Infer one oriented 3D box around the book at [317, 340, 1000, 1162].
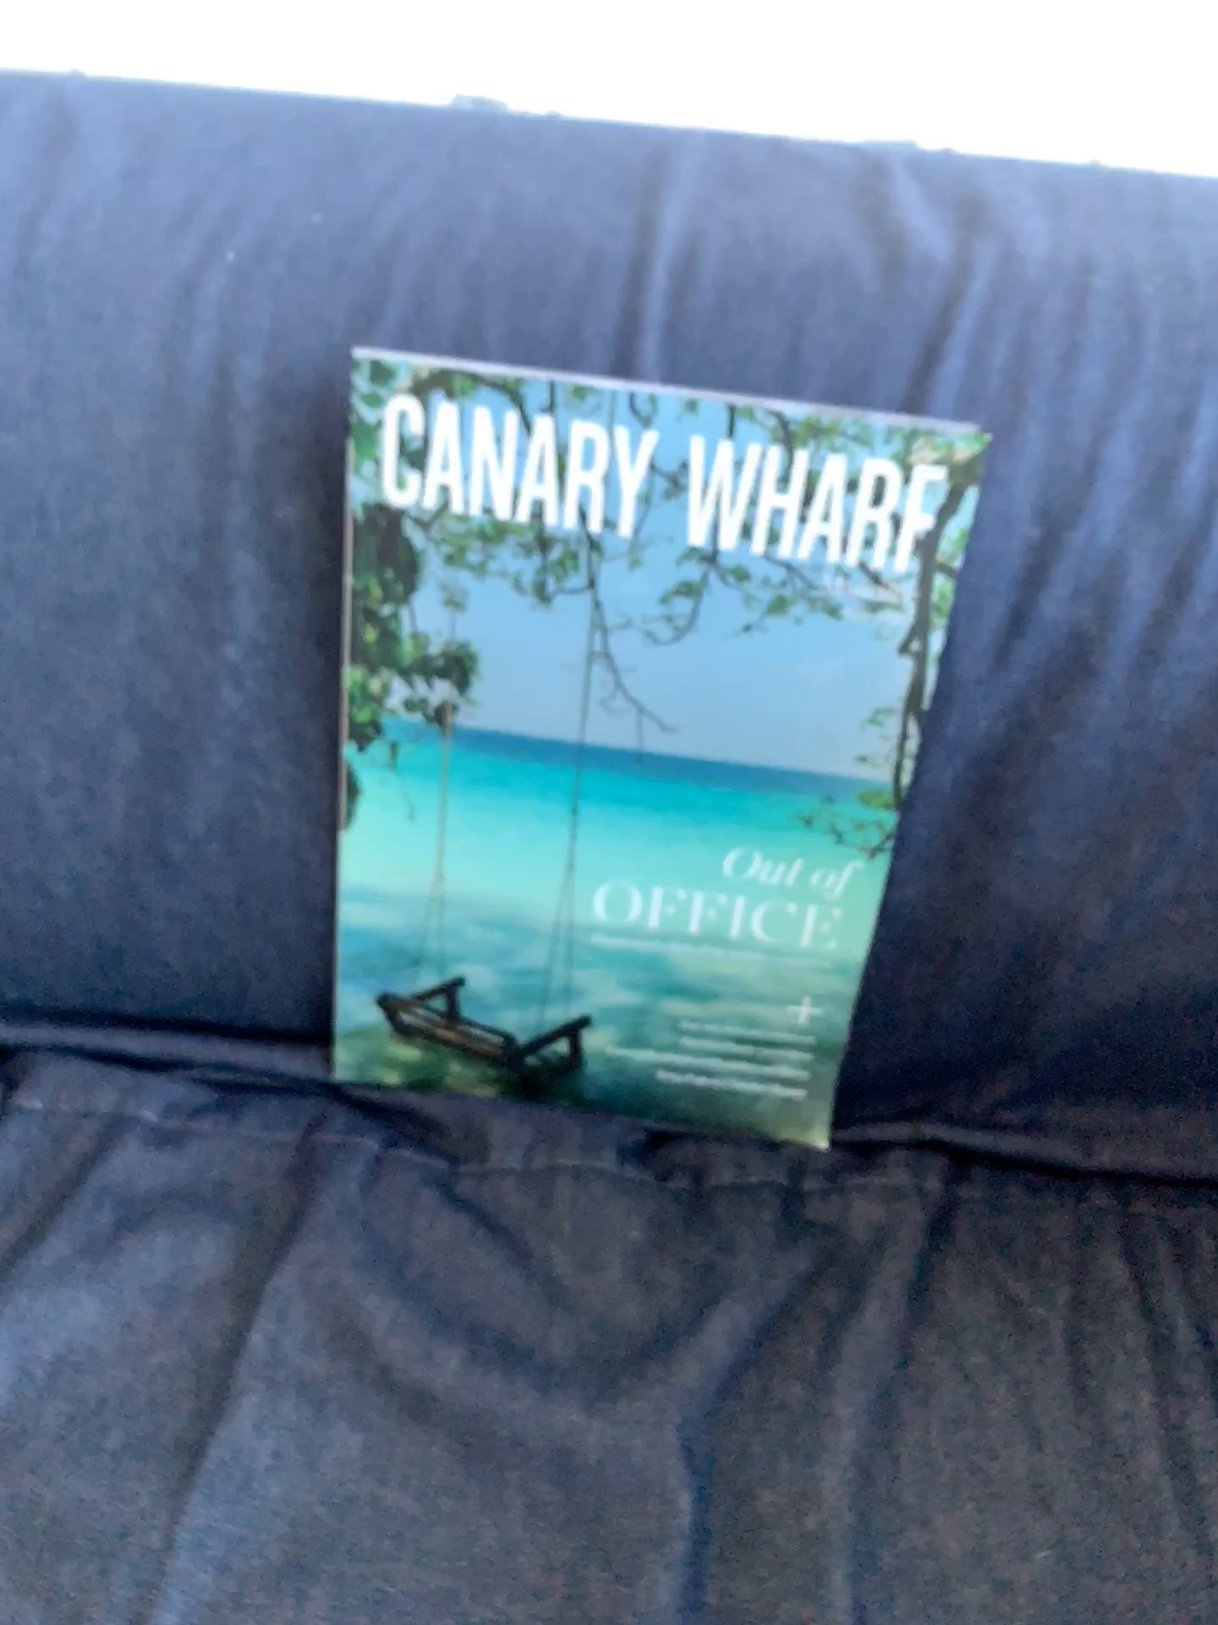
[{"bbox_3d":[0.003,-0.011,0.455,0.205,0.273,0.030,7,23,2],"label":"book"}]
